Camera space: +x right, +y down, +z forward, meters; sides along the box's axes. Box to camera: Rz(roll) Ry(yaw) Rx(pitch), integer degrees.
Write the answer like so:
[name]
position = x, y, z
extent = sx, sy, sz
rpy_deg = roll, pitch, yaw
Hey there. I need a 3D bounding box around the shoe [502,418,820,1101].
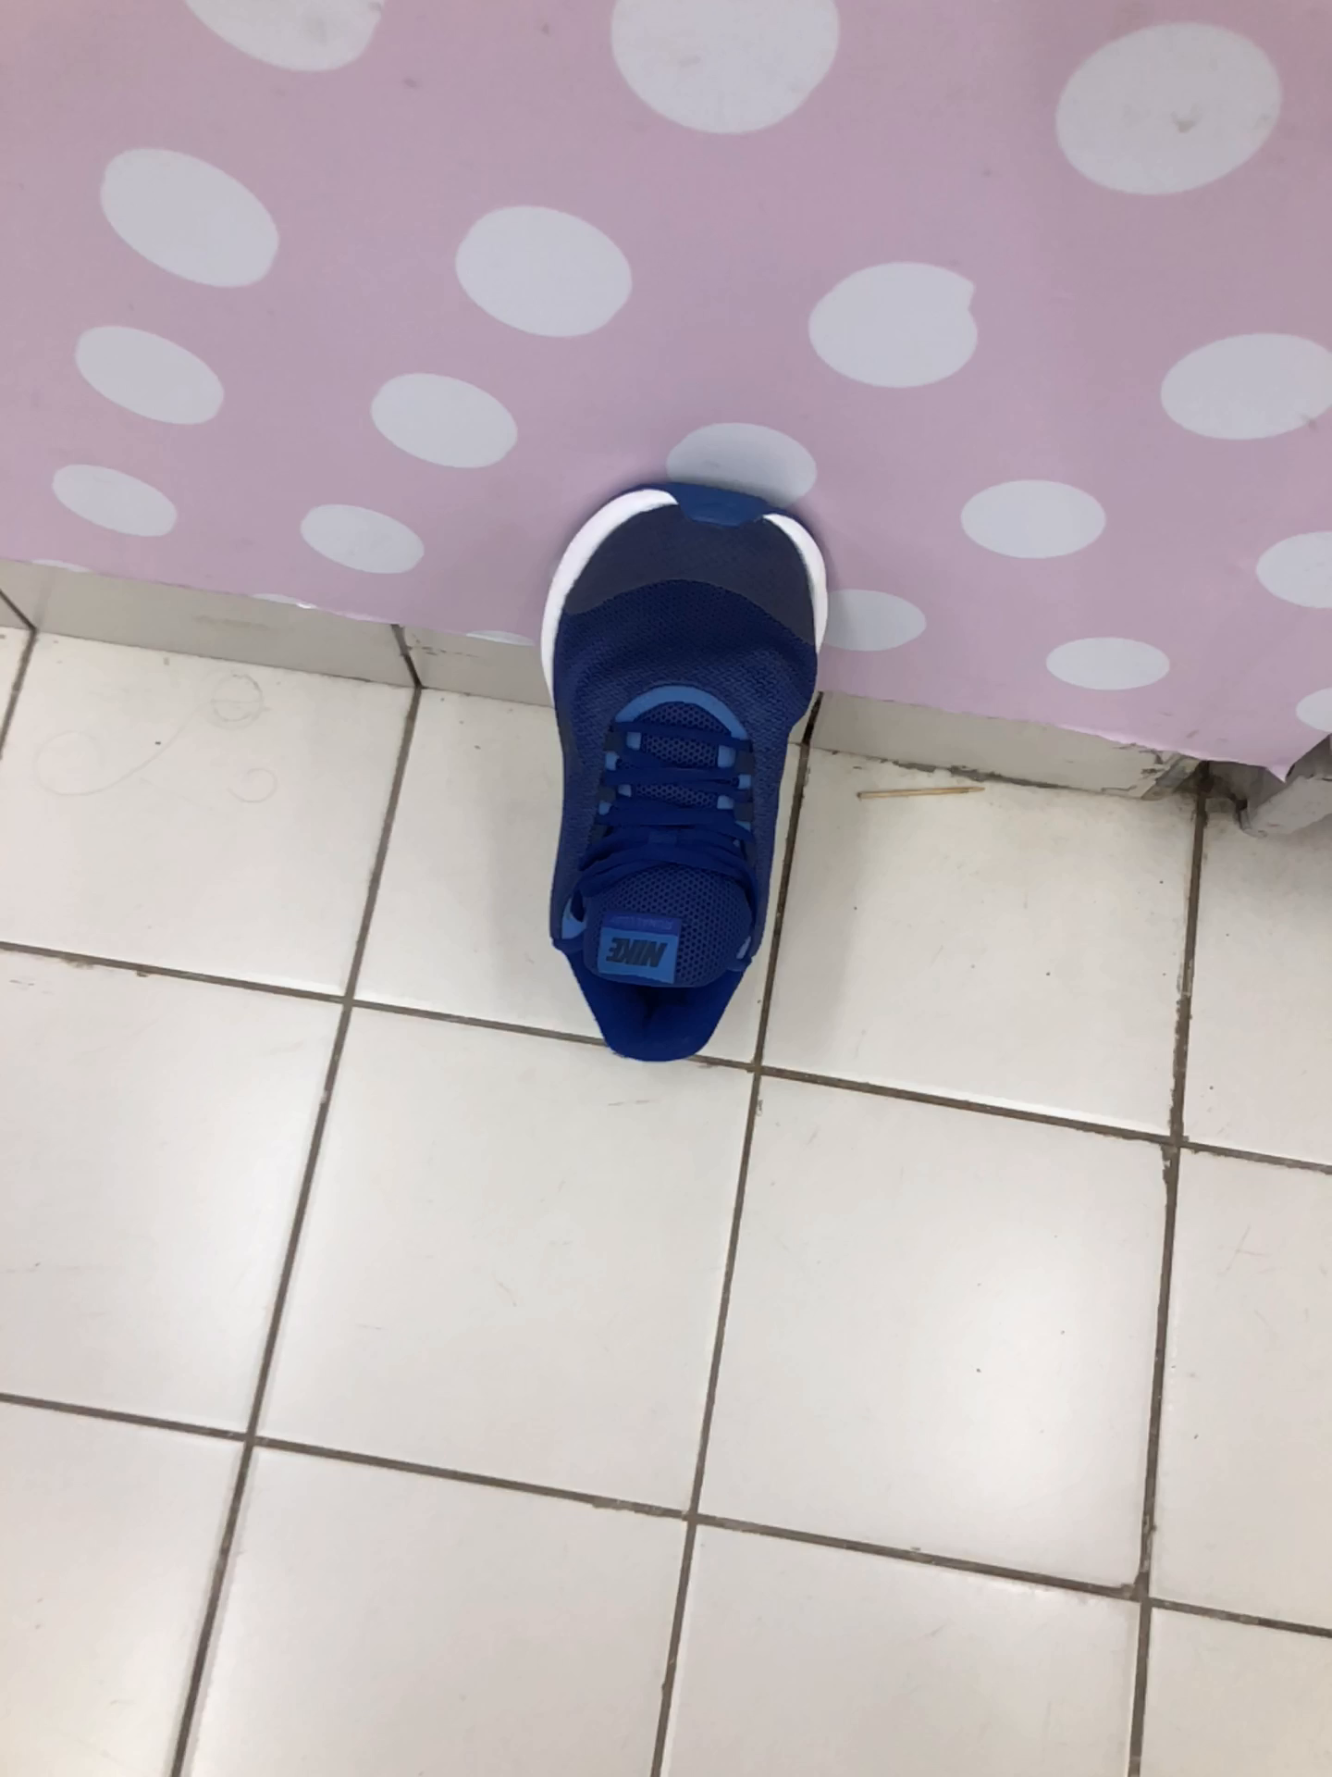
[shoe]
position = -0.005, -0.048, 0.586
extent = 0.100, 0.239, 0.110
rpy_deg = 5, 32, 0
